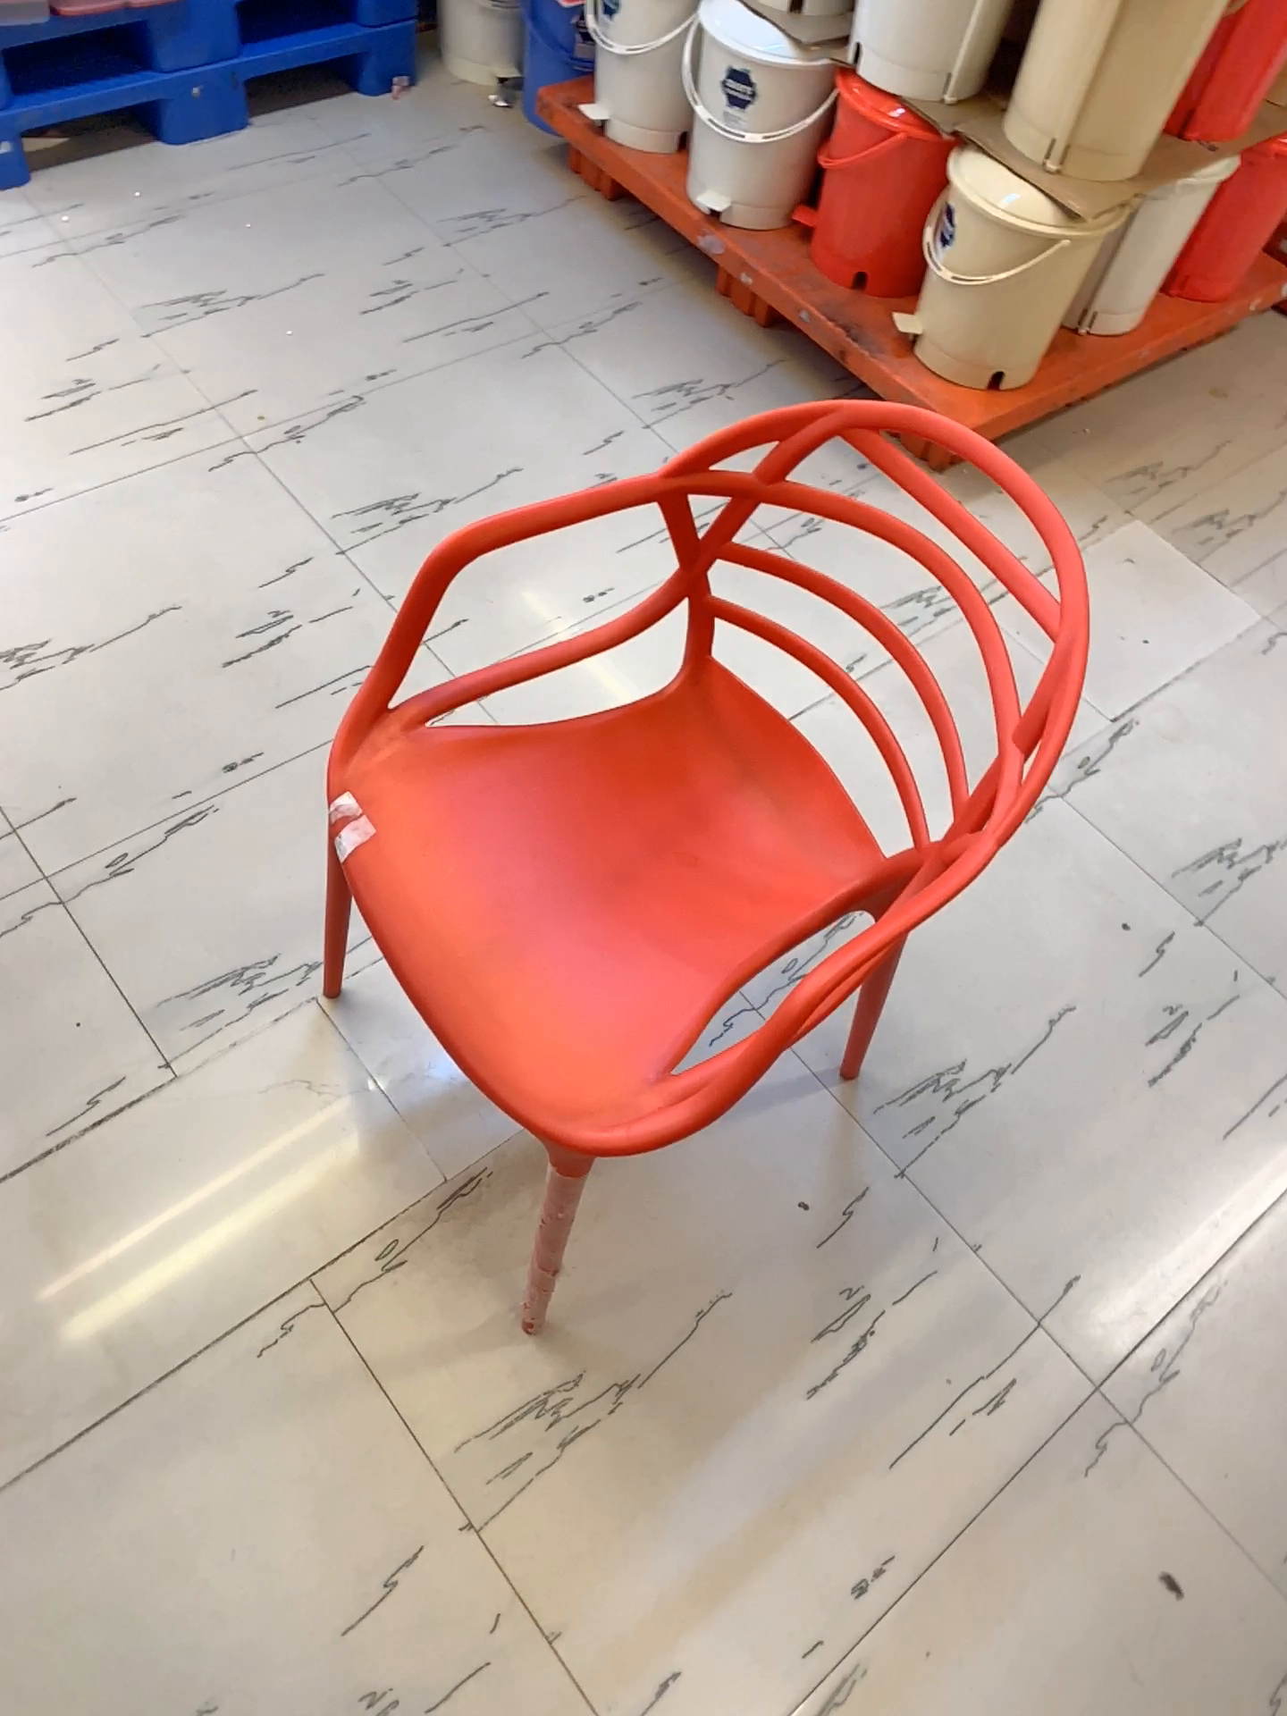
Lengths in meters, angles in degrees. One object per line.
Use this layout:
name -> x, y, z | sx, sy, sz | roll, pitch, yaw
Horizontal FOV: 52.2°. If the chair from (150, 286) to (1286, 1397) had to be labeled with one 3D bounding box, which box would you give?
chair -> 0.019, -0.007, 1.208 | 0.632, 0.655, 0.552 | -26, 63, -25
